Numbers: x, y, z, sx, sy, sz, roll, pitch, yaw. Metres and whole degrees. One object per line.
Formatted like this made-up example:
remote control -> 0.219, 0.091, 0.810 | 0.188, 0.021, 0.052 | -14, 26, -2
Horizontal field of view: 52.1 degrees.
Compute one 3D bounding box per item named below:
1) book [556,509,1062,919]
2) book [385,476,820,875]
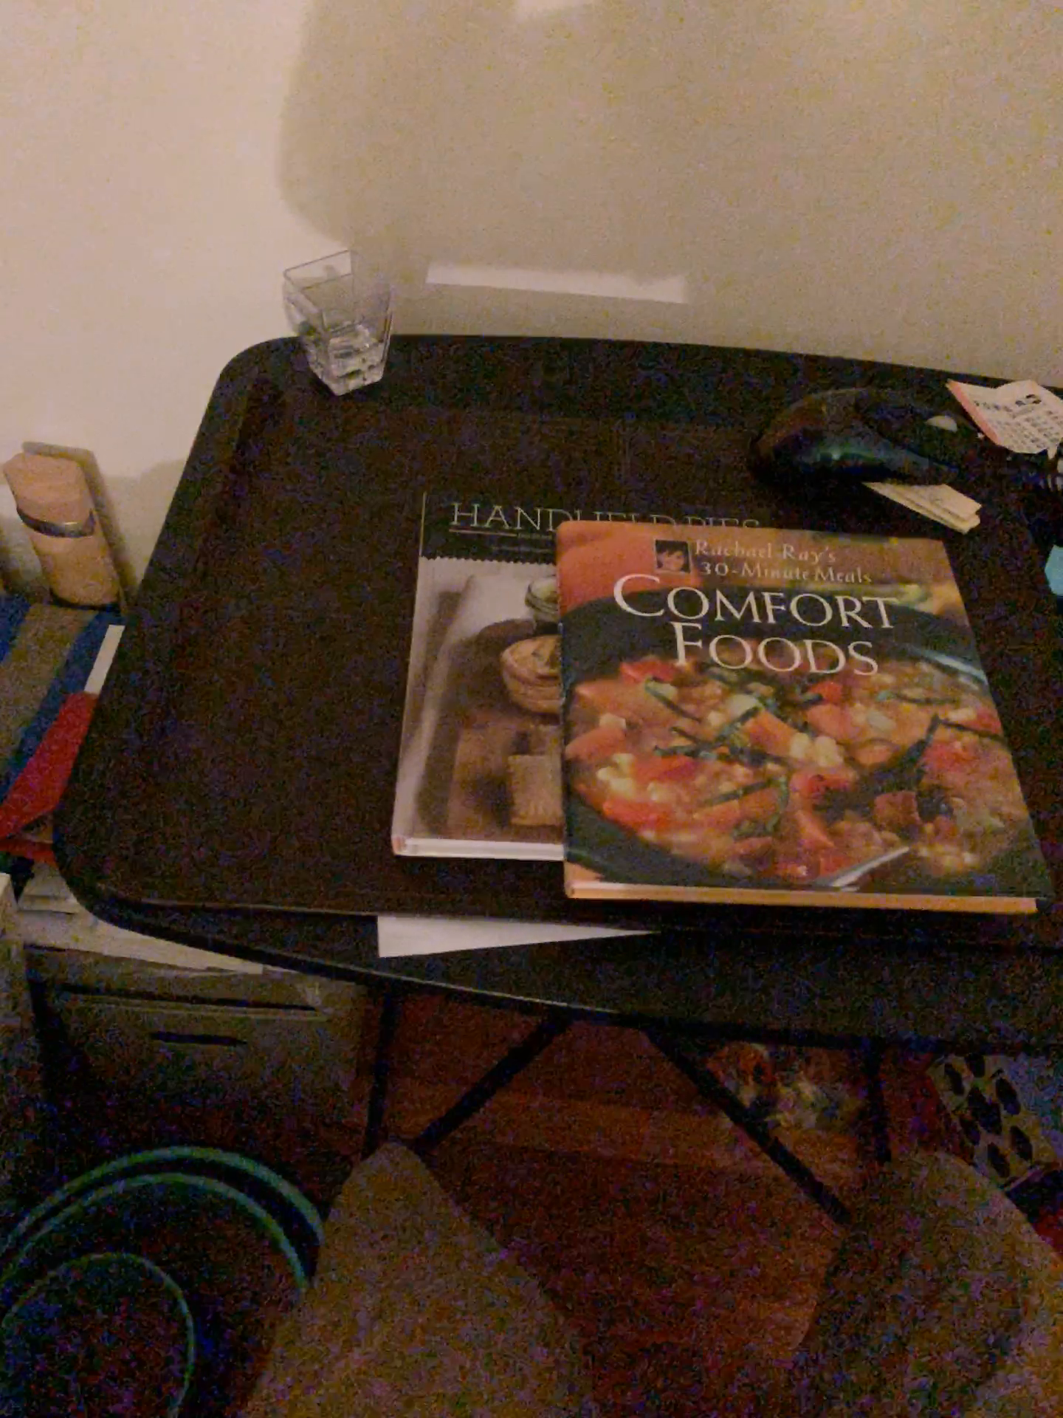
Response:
book -> 0.115, -0.007, 0.495 | 0.200, 0.020, 0.211 | 2, 53, -4
book -> 0.029, -0.026, 0.522 | 0.180, 0.020, 0.221 | 2, 53, -3
